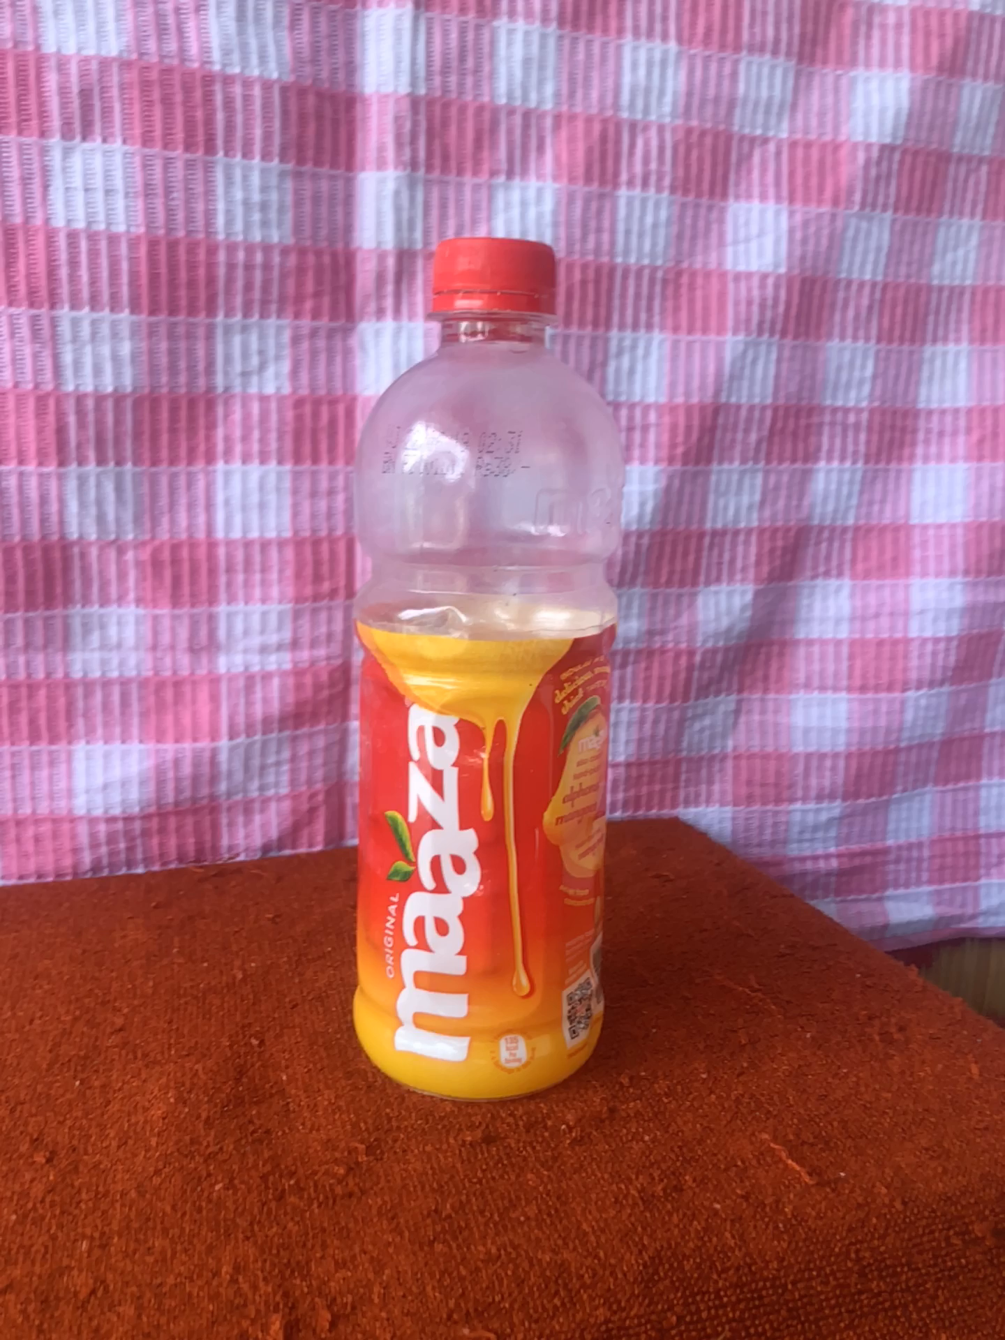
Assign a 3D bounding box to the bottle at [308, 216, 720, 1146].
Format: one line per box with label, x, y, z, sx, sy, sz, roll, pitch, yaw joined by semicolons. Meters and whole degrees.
bottle;0.003;0.002;0.288;0.080;0.209;0.070;6;14;8
